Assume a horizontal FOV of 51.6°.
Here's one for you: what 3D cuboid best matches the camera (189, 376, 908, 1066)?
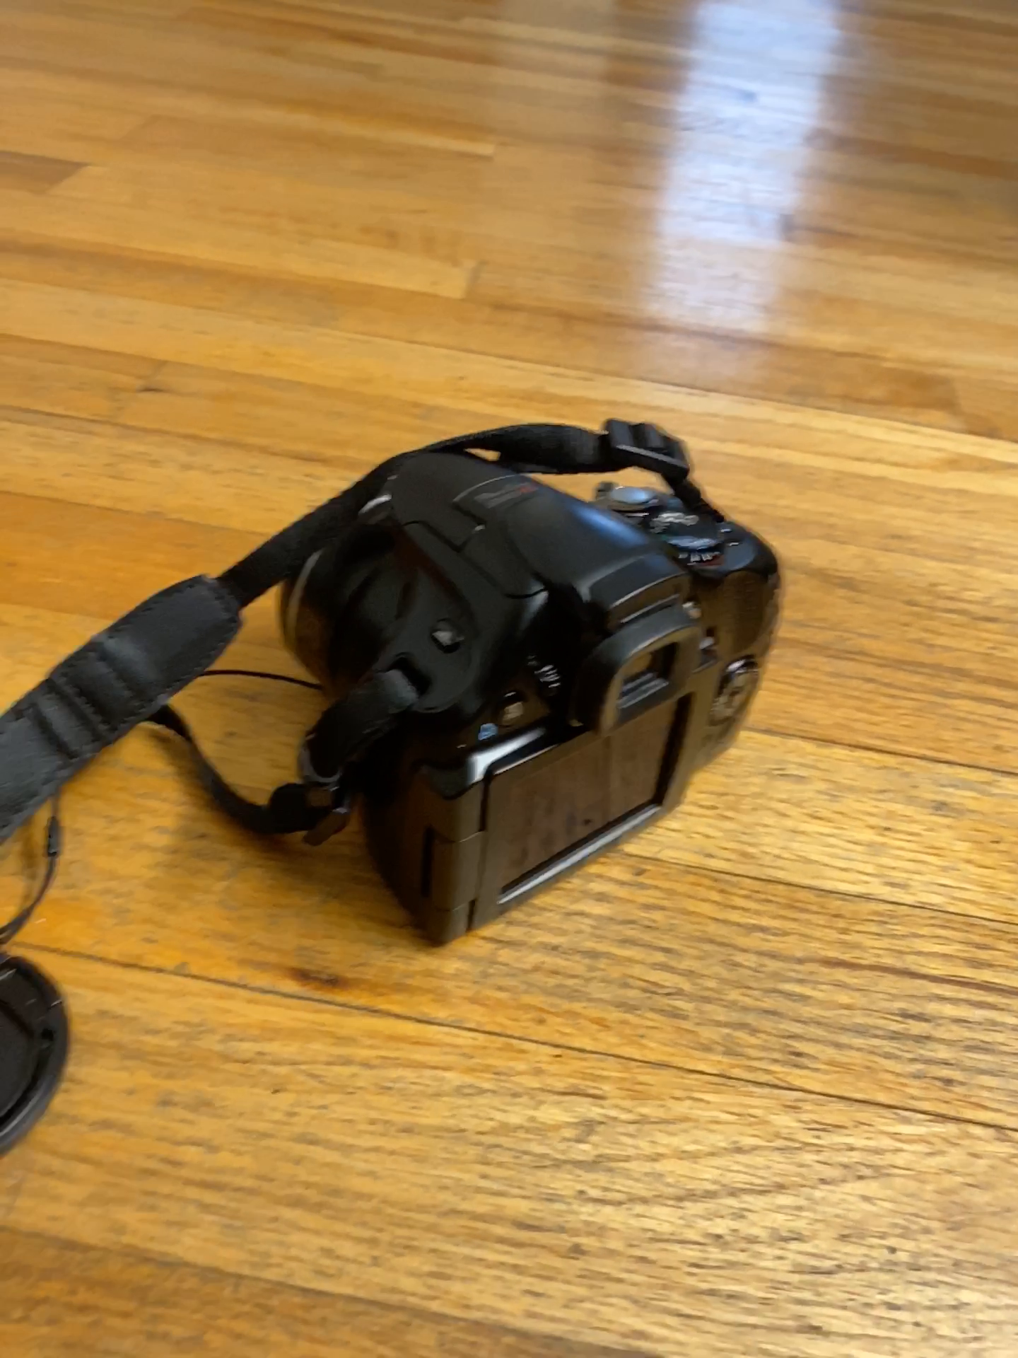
[{"bbox_3d":[0.003,-0.001,0.274,0.120,0.089,0.120,-23,50,-31],"label":"camera"}]
